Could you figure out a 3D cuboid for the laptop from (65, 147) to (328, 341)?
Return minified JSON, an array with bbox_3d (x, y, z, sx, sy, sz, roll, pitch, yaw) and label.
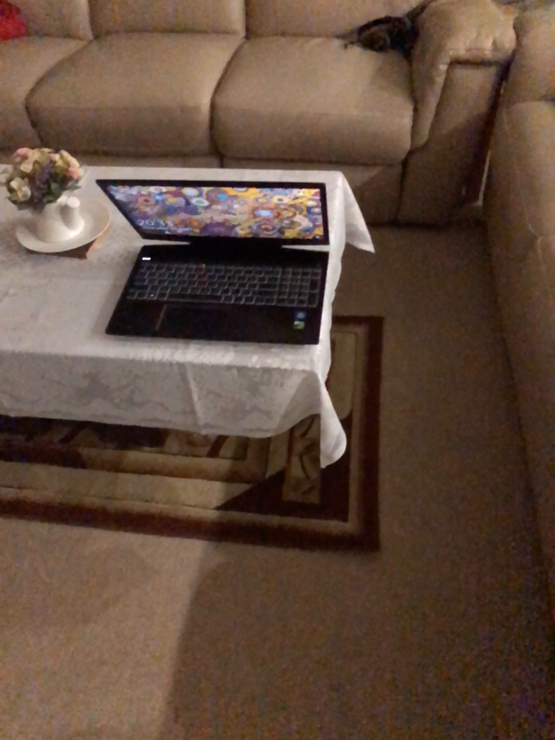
[{"bbox_3d":[-0.104,-0.211,0.996,0.355,0.199,0.244,3,48,7],"label":"laptop"}]
